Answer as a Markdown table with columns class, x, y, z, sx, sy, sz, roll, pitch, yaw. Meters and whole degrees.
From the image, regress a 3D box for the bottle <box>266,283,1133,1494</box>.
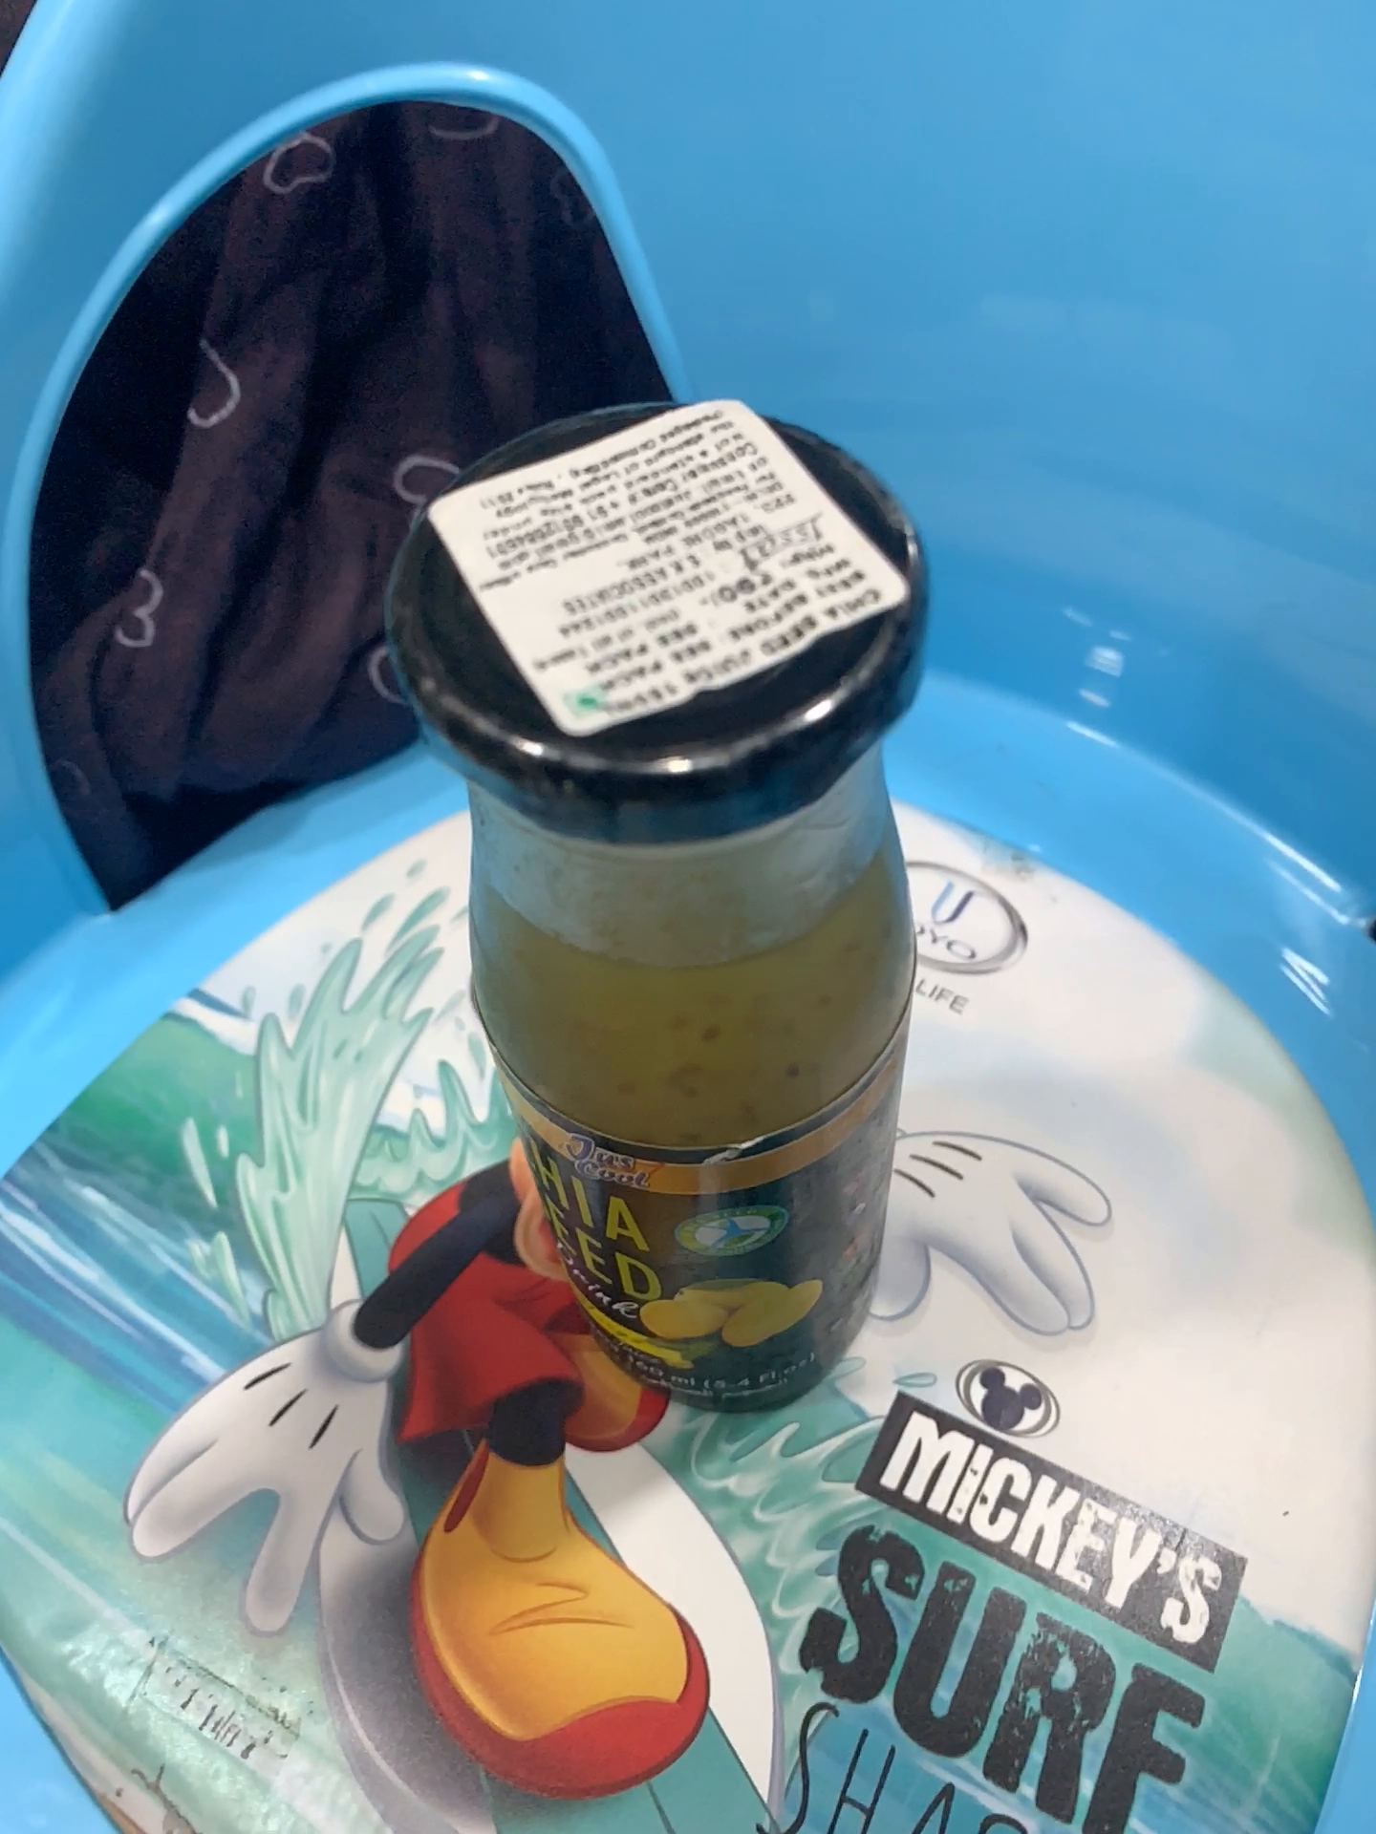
| class | x | y | z | sx | sy | sz | roll | pitch | yaw |
| --- | --- | --- | --- | --- | --- | --- | --- | --- | --- |
| bottle | 0.003 | 0.010 | 0.170 | 0.050 | 0.140 | 0.050 | -1 | 51 | 1 |
